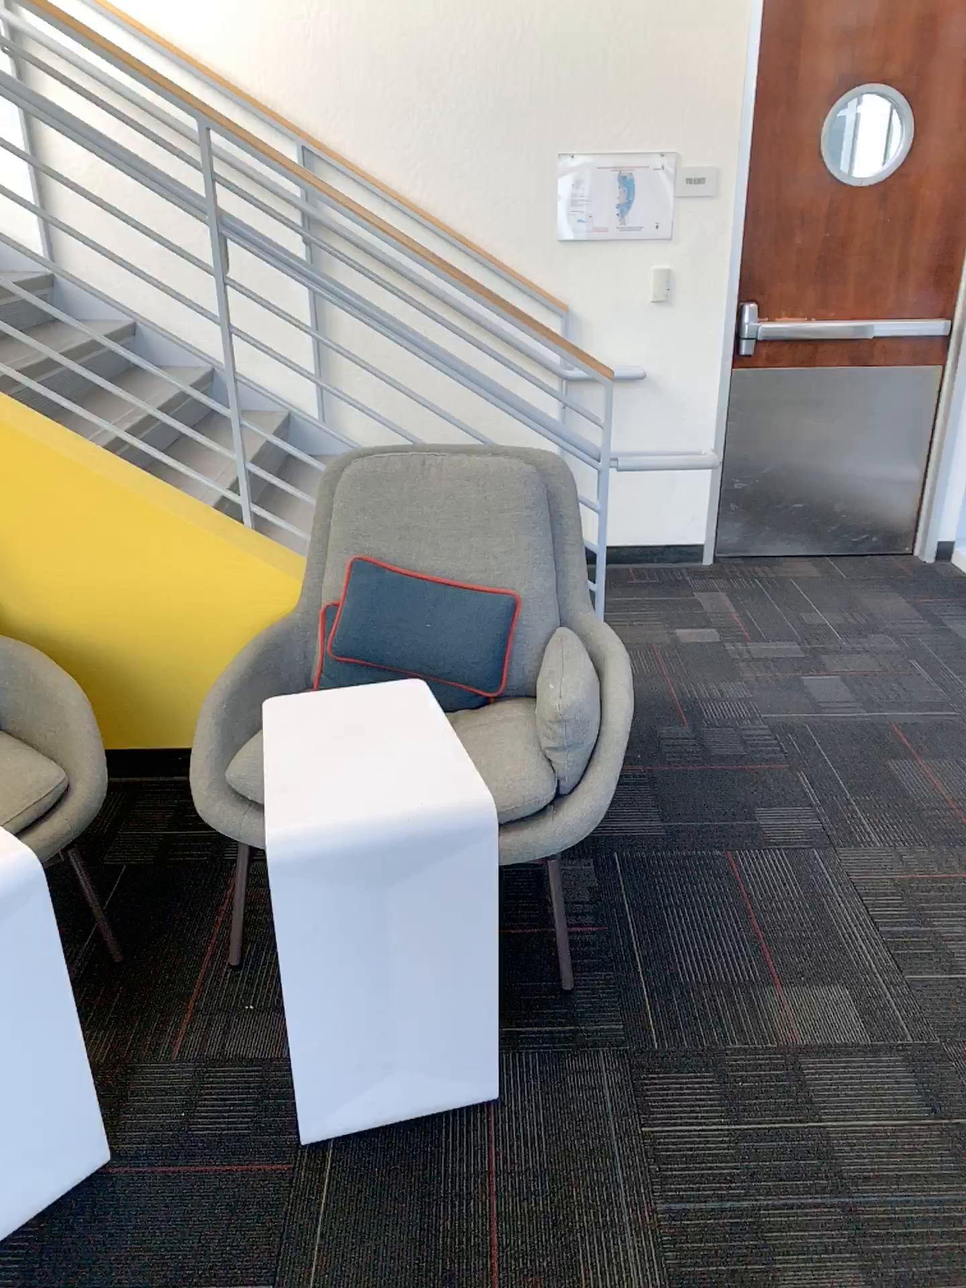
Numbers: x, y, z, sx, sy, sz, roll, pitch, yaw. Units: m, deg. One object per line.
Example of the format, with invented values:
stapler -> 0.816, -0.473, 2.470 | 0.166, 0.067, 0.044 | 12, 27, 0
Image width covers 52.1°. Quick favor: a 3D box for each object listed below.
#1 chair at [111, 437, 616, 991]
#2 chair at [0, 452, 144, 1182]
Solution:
chair -> -0.168, 0.075, 2.310 | 0.870, 0.945, 0.884 | 3, 22, 10
chair -> -1.418, 0.232, 2.100 | 0.891, 1.015, 0.843 | -22, 29, -37
